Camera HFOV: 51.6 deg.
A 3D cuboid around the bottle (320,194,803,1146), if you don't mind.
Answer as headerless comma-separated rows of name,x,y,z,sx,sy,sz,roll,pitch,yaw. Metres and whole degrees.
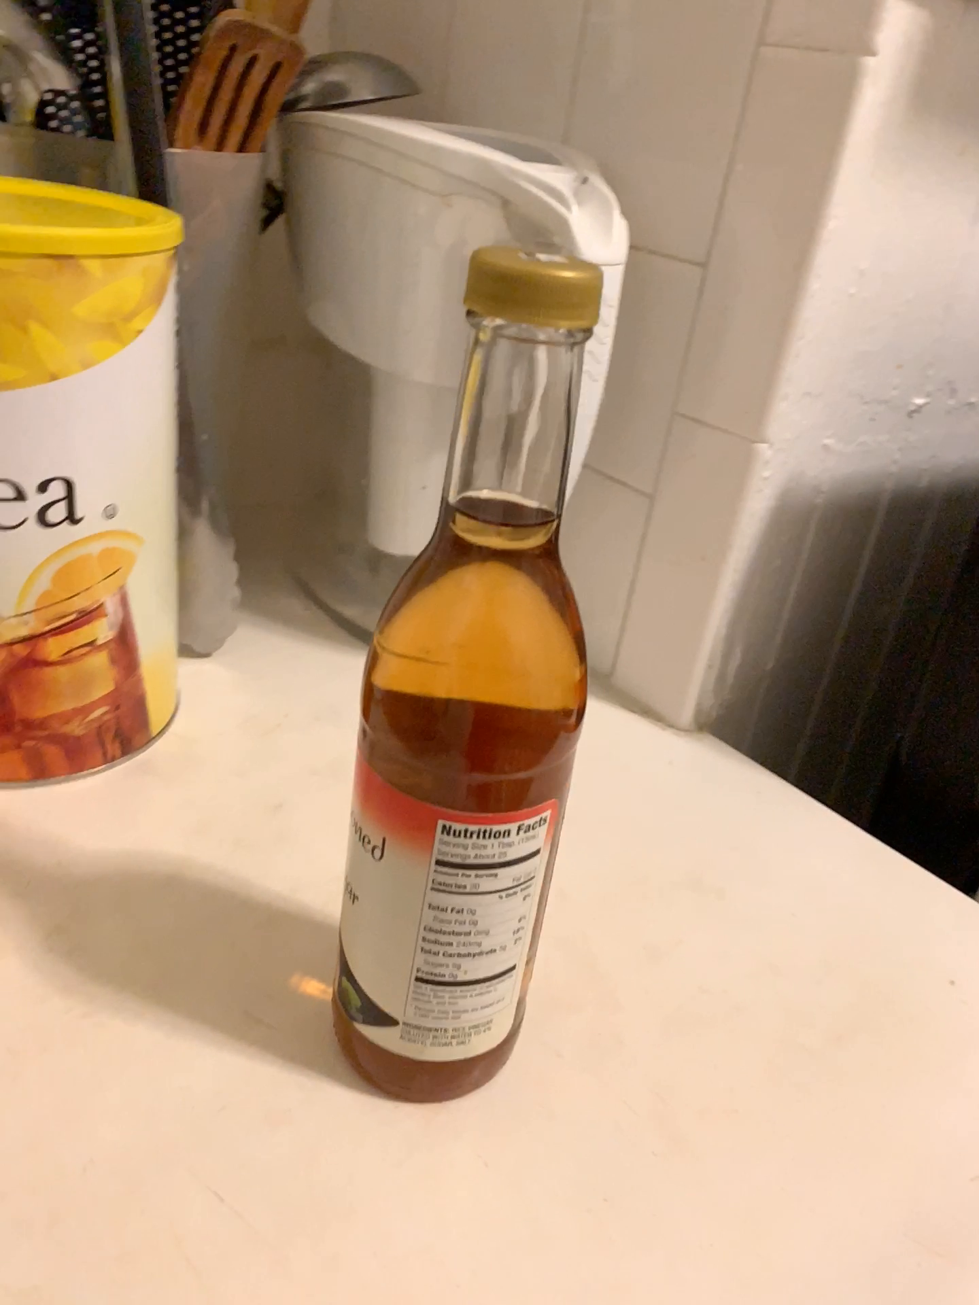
bottle,0.001,0.017,0.267,0.070,0.239,0.070,7,27,-4
